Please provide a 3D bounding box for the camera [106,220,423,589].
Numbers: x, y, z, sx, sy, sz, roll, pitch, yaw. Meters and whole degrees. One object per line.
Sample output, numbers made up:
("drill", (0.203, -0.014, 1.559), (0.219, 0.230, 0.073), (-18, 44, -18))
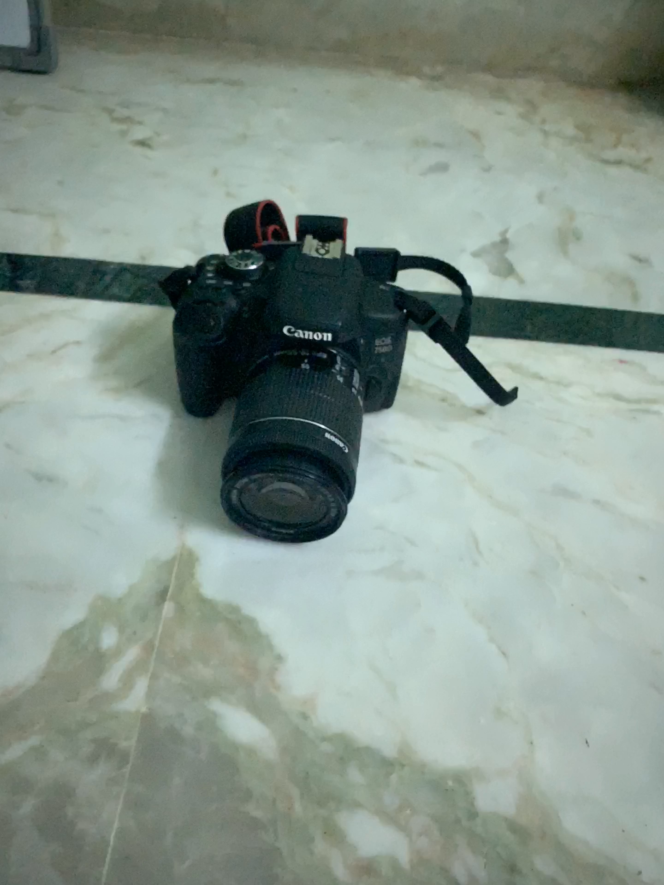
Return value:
("camera", (-0.025, -0.025, 0.368), (0.128, 0.100, 0.161), (6, 47, -1))
